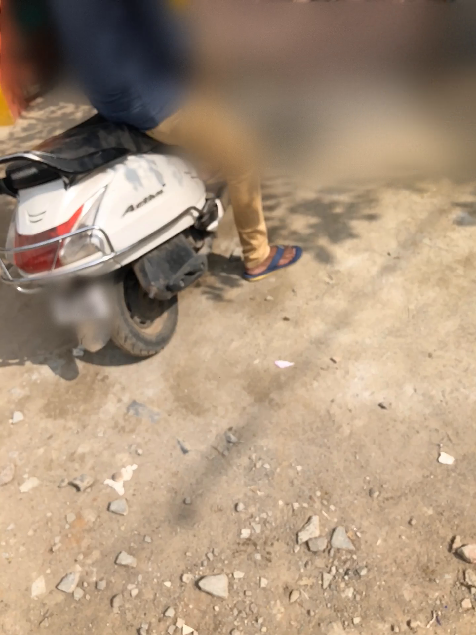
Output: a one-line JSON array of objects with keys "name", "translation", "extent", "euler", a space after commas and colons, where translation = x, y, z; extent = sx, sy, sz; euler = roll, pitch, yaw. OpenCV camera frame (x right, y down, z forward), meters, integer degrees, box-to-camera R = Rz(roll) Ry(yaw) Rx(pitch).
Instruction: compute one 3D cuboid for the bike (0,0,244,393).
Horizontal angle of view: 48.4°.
[{"name": "bike", "translation": [-0.471, -0.739, 2.161], "extent": [0.620, 1.187, 1.603], "euler": [2, 41, 12]}]
